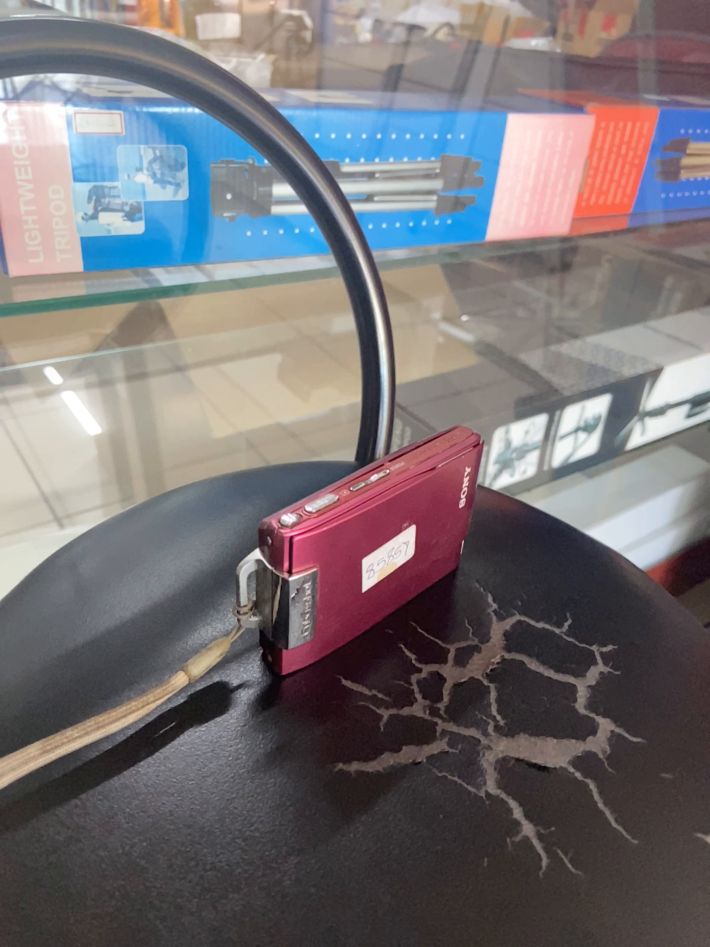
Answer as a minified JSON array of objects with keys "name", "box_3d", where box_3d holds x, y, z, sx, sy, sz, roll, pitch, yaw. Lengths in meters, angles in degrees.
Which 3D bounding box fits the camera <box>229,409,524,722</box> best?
[{"name":"camera","box_3d":[0.009,0.025,0.242,0.100,0.060,0.030,-25,44,-39]}]
